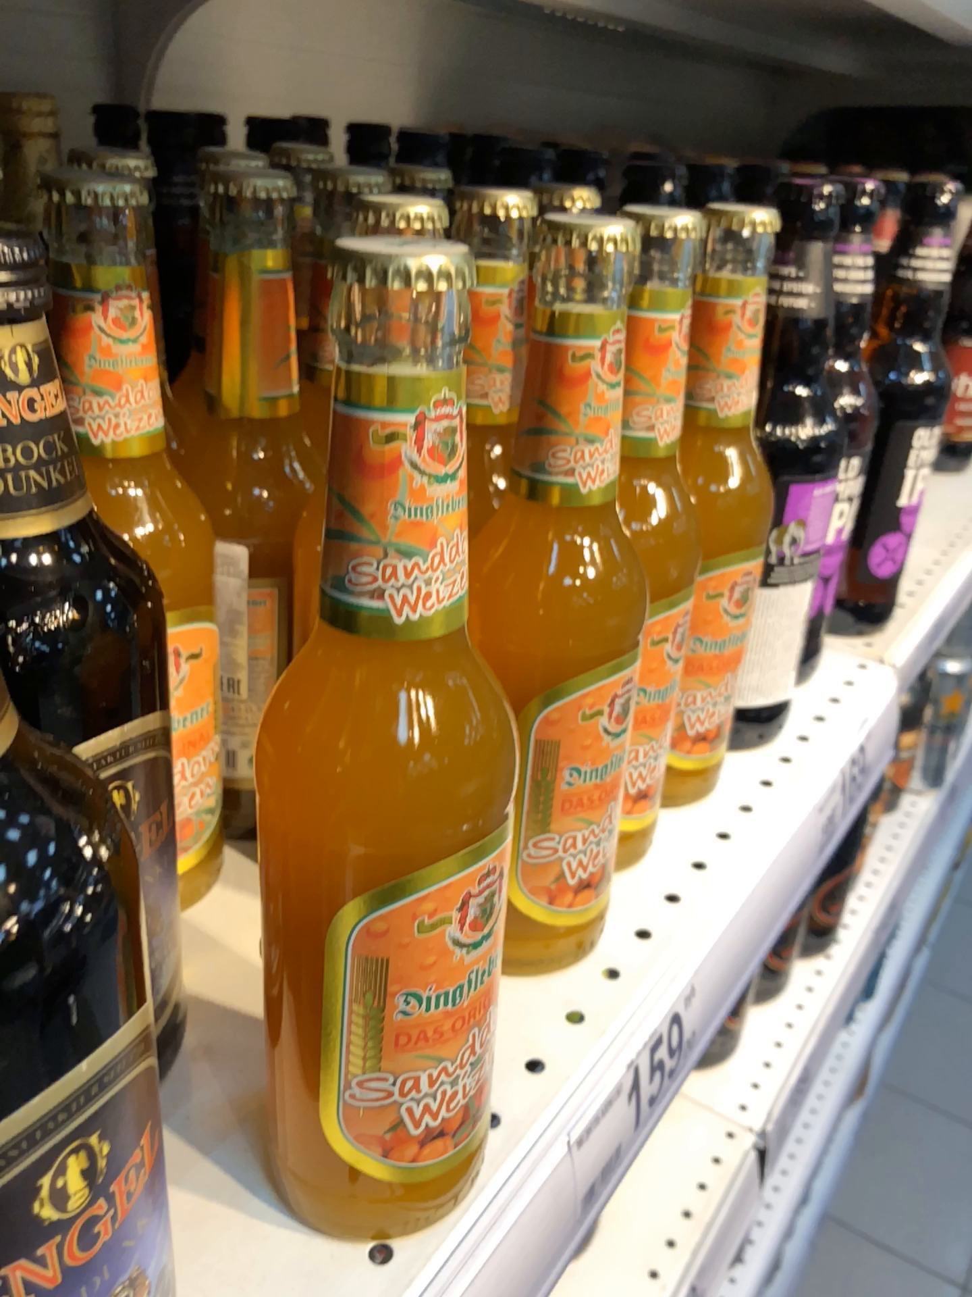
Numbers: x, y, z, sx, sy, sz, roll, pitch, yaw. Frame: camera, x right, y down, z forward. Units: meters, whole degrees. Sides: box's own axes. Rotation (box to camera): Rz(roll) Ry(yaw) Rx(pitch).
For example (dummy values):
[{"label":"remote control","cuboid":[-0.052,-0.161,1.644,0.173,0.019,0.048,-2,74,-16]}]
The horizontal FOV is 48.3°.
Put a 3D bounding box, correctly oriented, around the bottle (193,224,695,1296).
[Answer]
[{"label":"bottle","cuboid":[-0.014,0.029,0.244,0.060,0.225,0.070,22,30,32]}]
